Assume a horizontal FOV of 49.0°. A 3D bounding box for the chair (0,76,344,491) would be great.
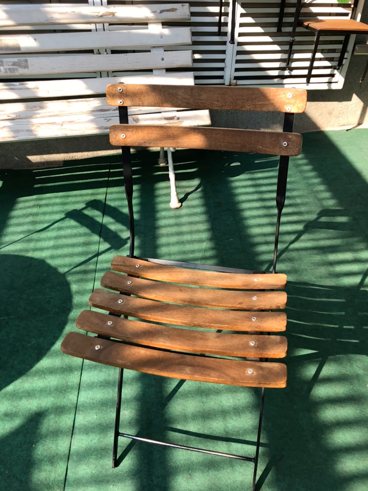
[{"bbox_3d":[-0.001,0.095,0.735,0.390,0.655,0.403,6,38,11],"label":"chair"}]
